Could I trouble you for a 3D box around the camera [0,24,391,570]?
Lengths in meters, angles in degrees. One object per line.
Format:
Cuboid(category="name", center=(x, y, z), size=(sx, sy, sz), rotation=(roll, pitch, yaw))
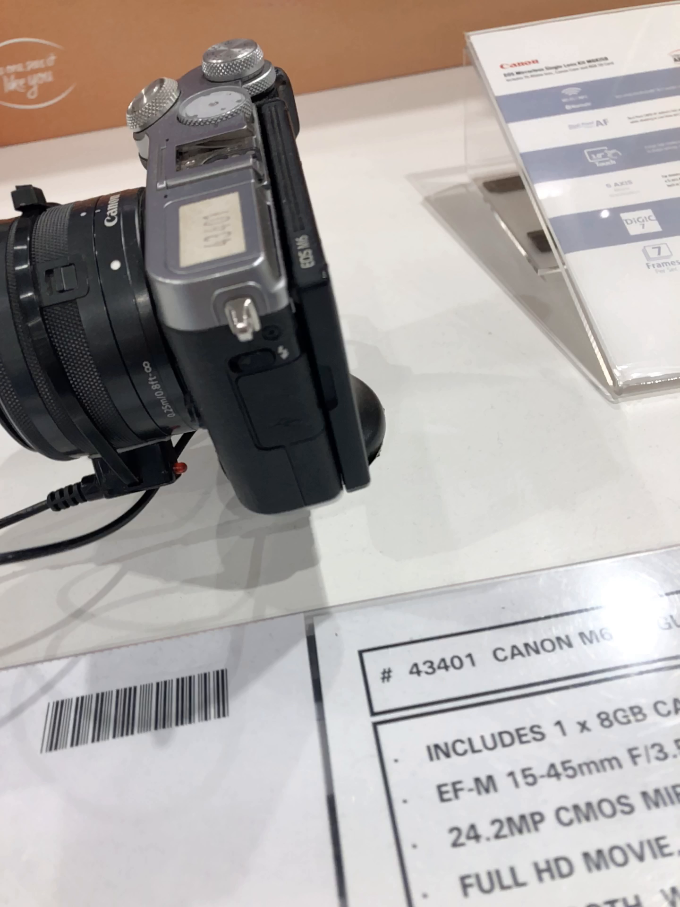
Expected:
Cuboid(category="camera", center=(-0.042, -0.043, 0.191), size=(0.083, 0.075, 0.103), rotation=(-13, 45, 1))
